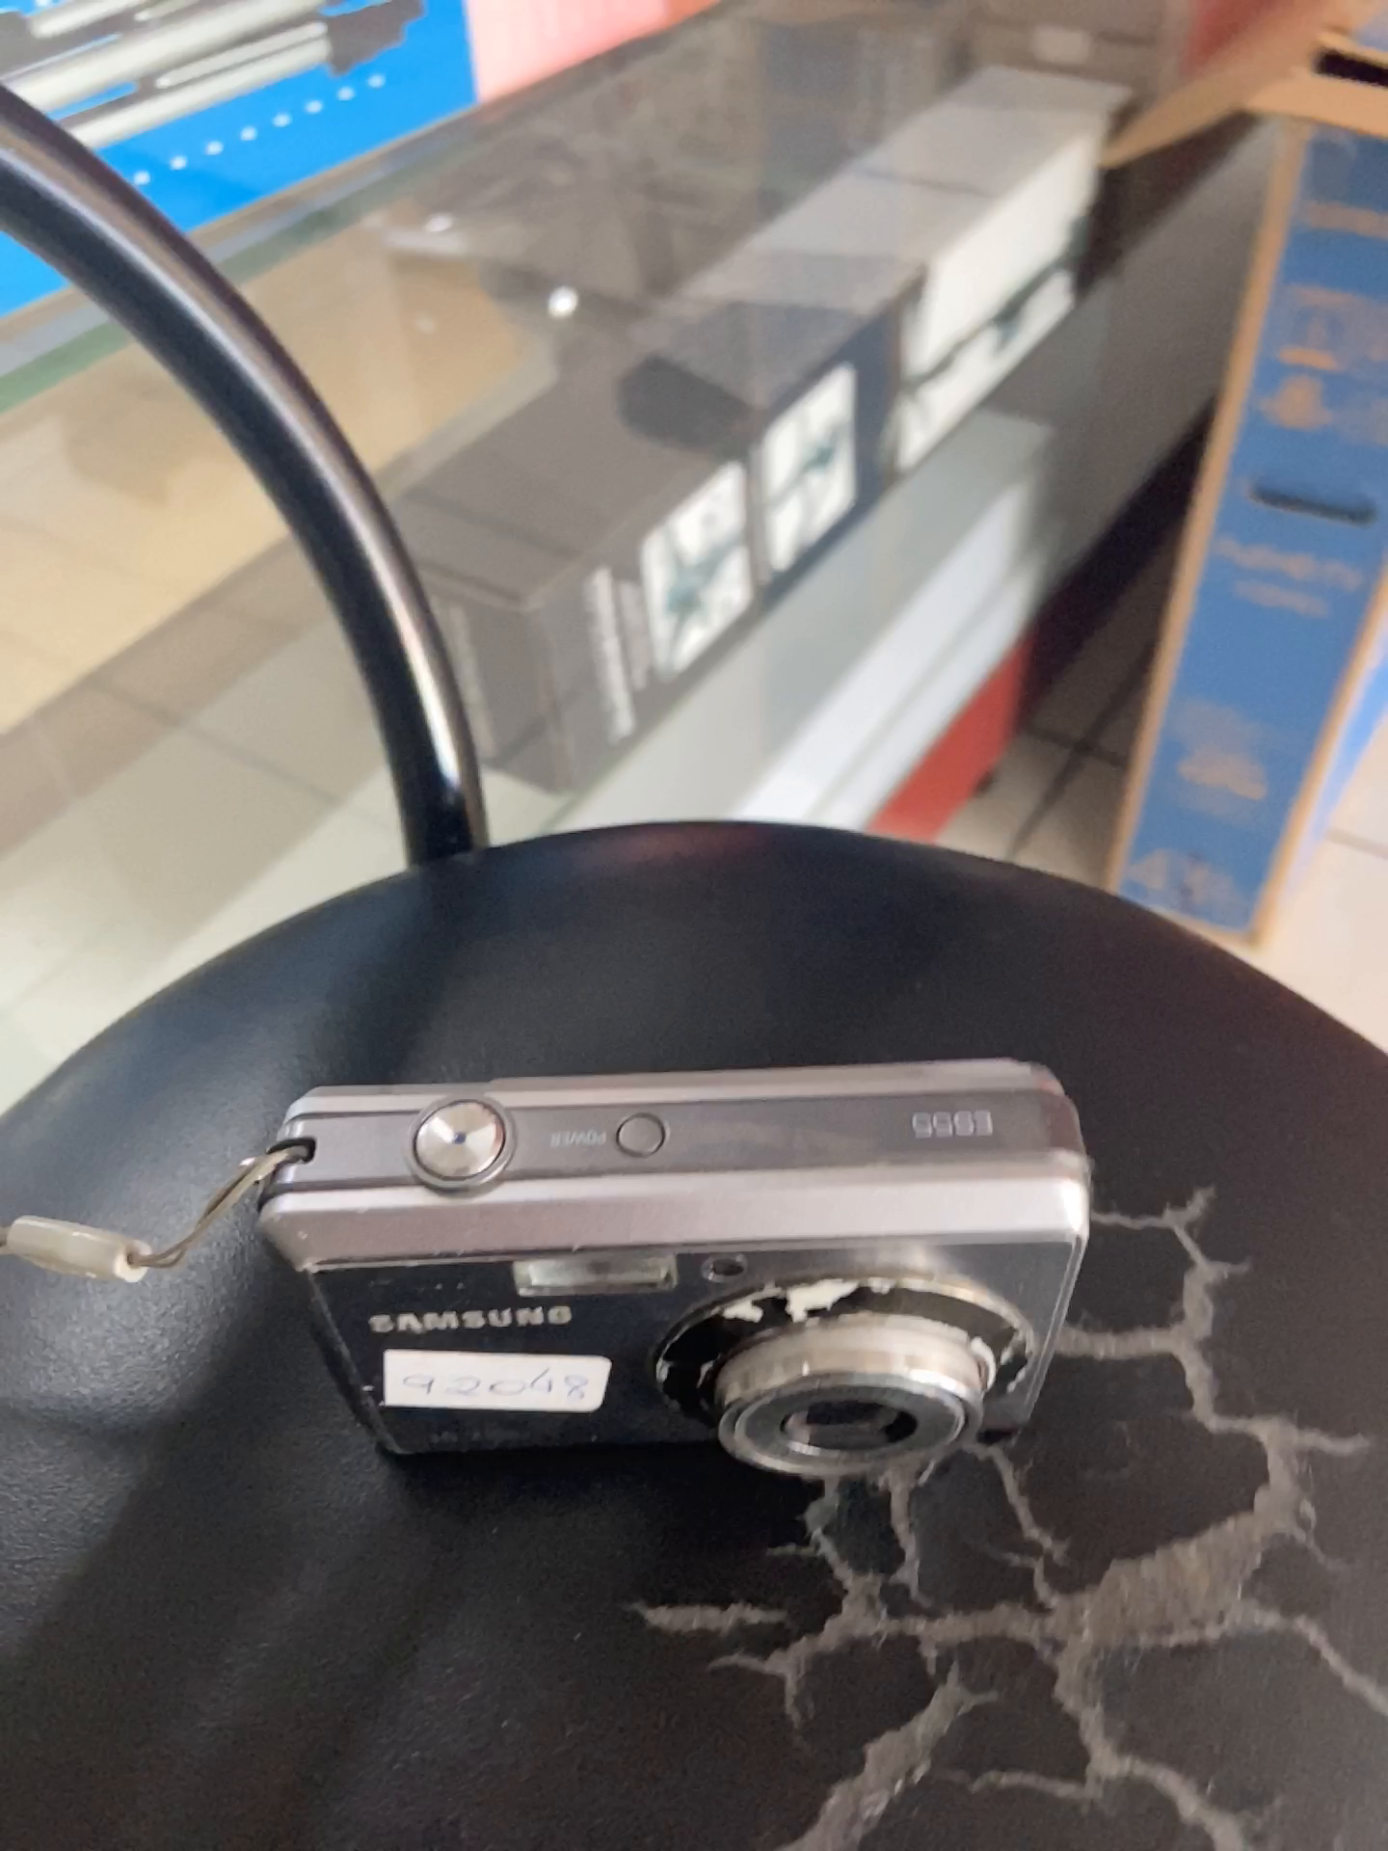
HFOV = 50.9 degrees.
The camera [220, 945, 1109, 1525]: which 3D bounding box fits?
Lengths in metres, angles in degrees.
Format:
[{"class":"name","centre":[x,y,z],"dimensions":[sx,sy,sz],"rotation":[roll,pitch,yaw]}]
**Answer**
[{"class":"camera","centre":[-0.002,0.042,0.187],"dimensions":[0.090,0.070,0.040],"rotation":[-2,48,2]}]
